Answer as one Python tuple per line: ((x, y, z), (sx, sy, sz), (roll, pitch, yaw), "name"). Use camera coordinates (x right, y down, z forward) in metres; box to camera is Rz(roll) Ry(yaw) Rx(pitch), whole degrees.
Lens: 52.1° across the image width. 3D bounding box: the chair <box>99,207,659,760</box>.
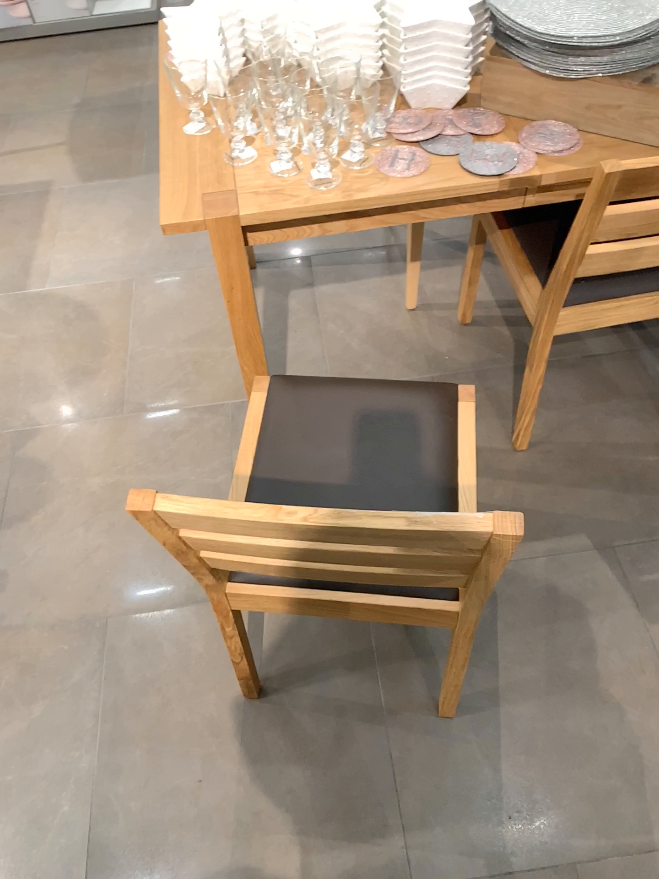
((0.095, 0.127, 1.165), (0.562, 0.817, 0.567), (3, 53, 7), "chair")
